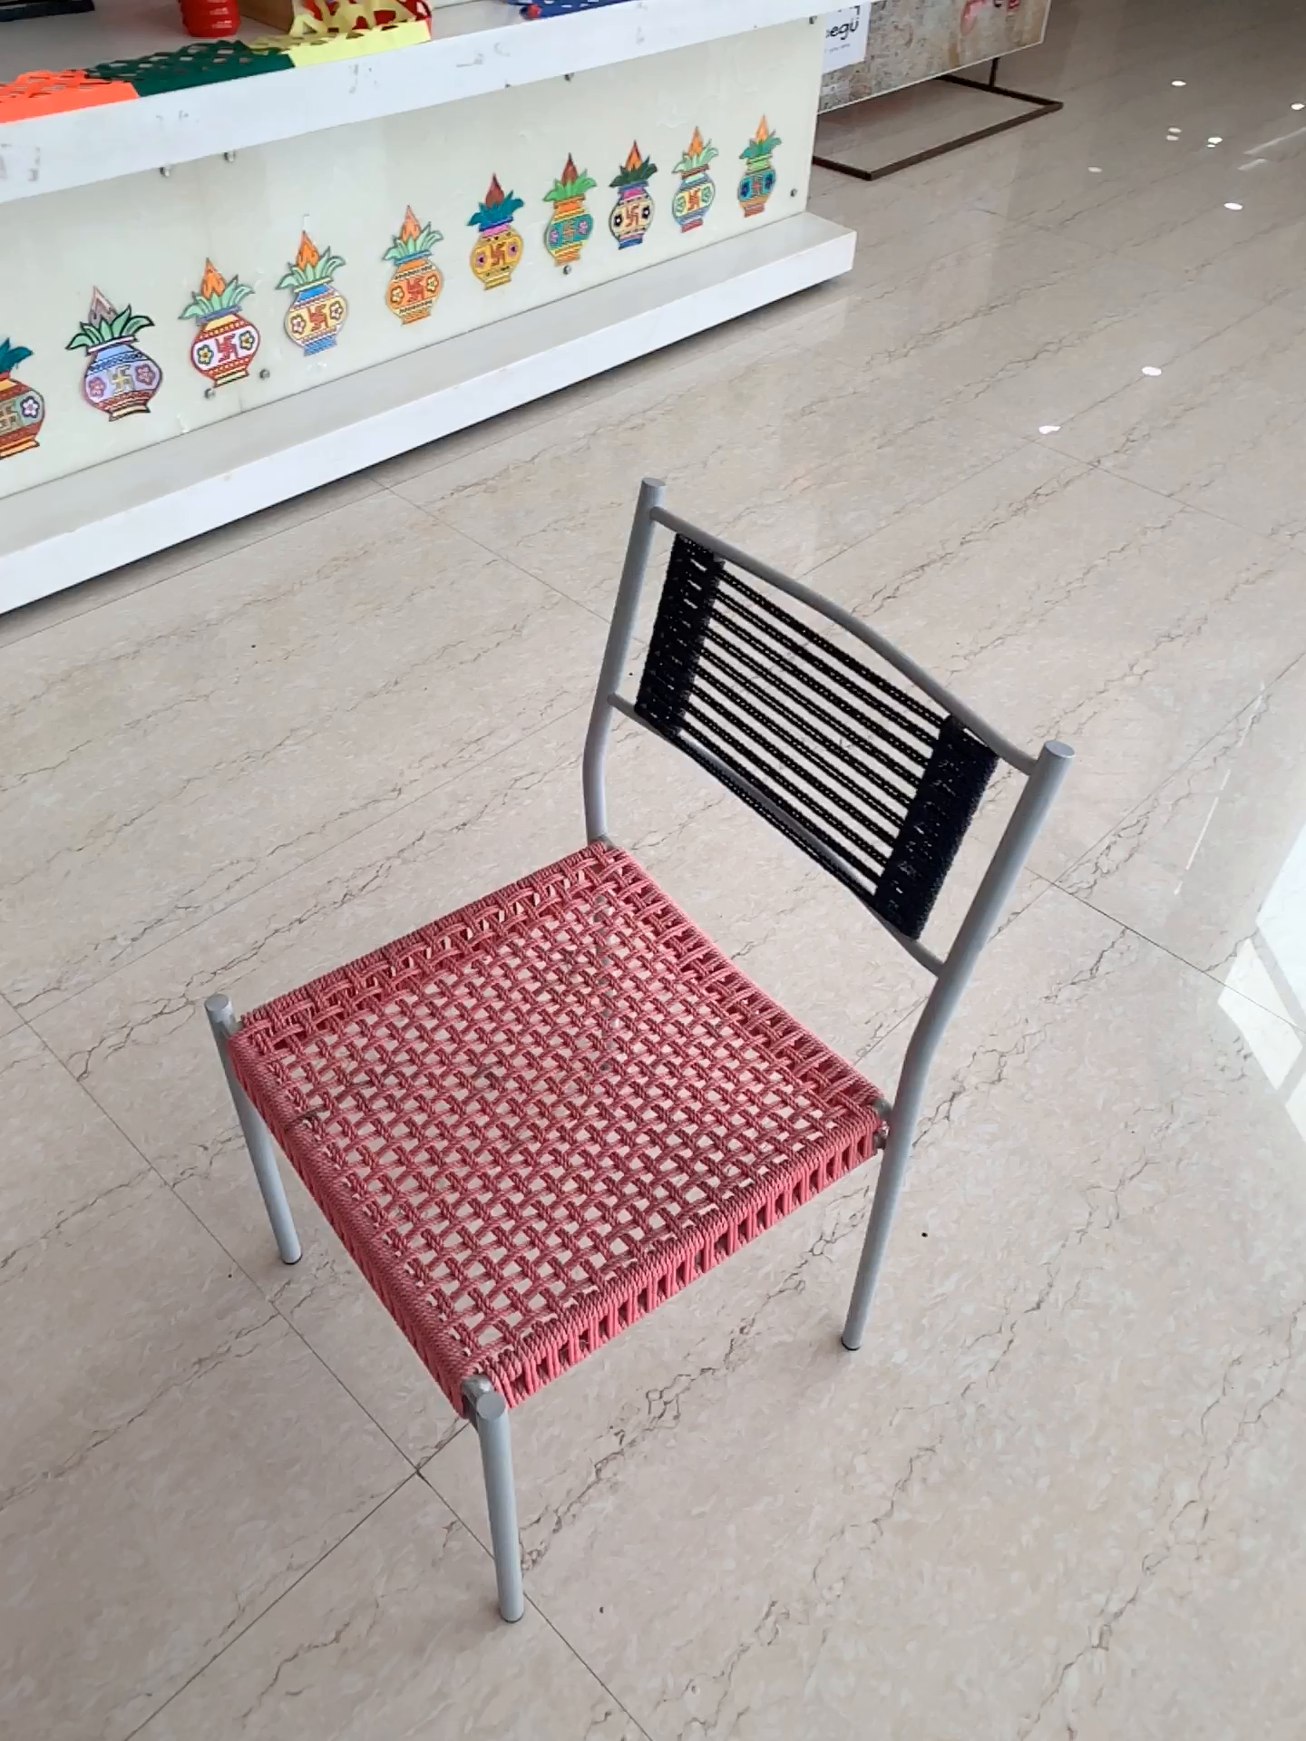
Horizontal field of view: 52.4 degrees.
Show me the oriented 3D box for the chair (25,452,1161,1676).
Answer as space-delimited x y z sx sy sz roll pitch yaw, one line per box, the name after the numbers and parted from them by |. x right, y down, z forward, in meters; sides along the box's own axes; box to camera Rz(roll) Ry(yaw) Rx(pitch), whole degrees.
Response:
-0.059 0.156 1.166 0.582 0.734 0.533 -27 51 -28 | chair
